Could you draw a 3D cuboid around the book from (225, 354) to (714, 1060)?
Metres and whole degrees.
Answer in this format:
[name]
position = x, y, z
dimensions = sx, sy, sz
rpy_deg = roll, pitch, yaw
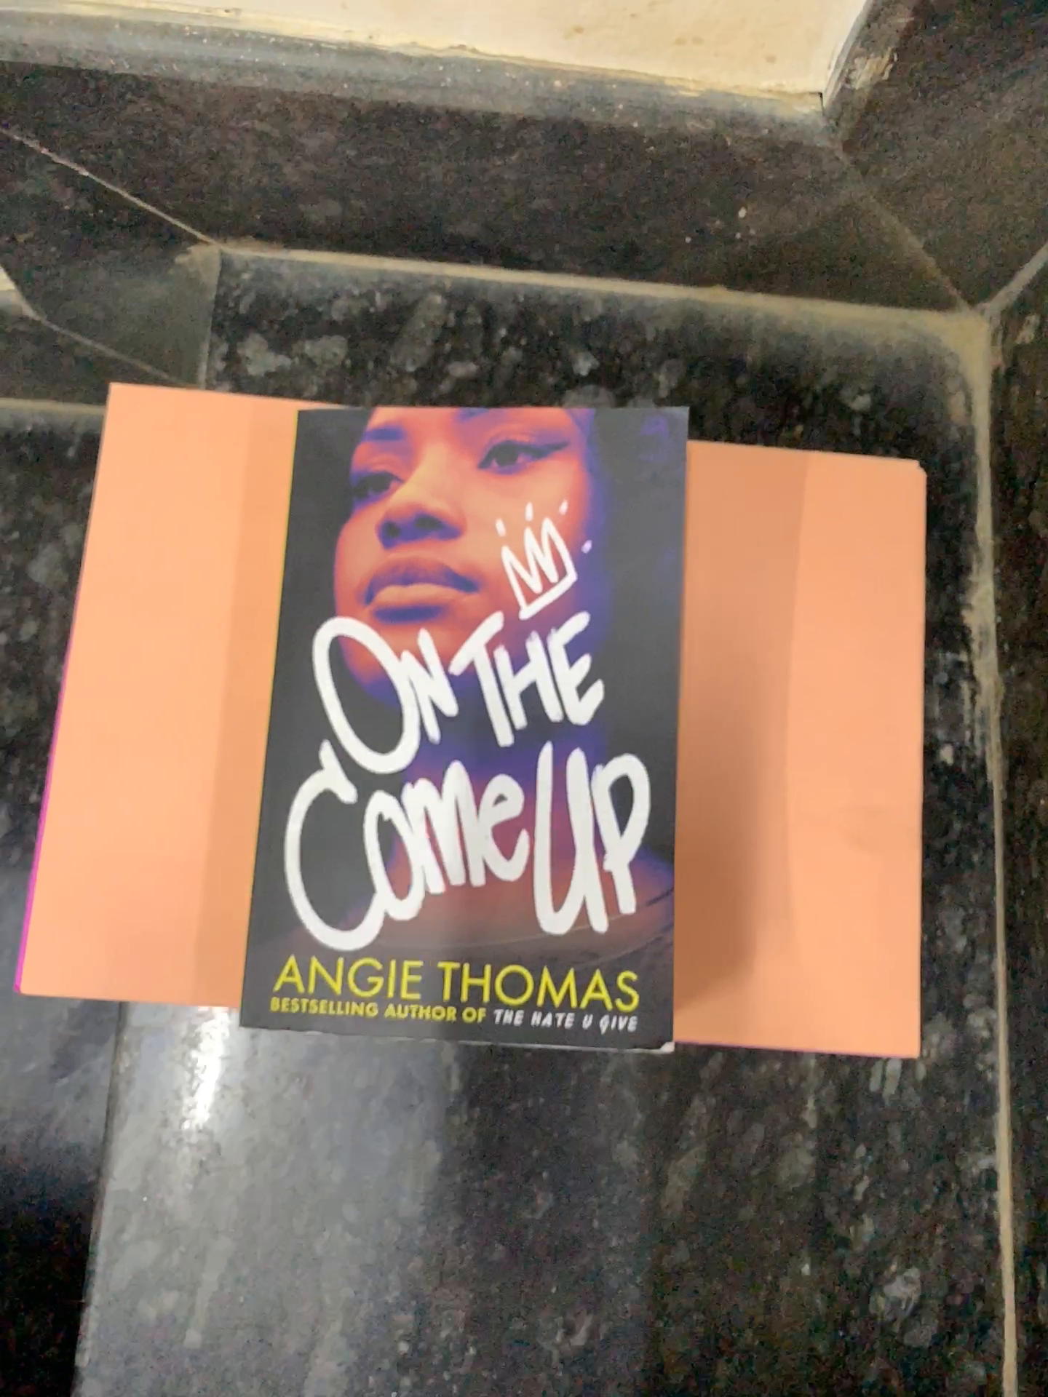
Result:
[book]
position = -0.011, 0.000, 0.330
dimensions = 0.130, 0.040, 0.200
rpy_deg = 2, 79, 1
